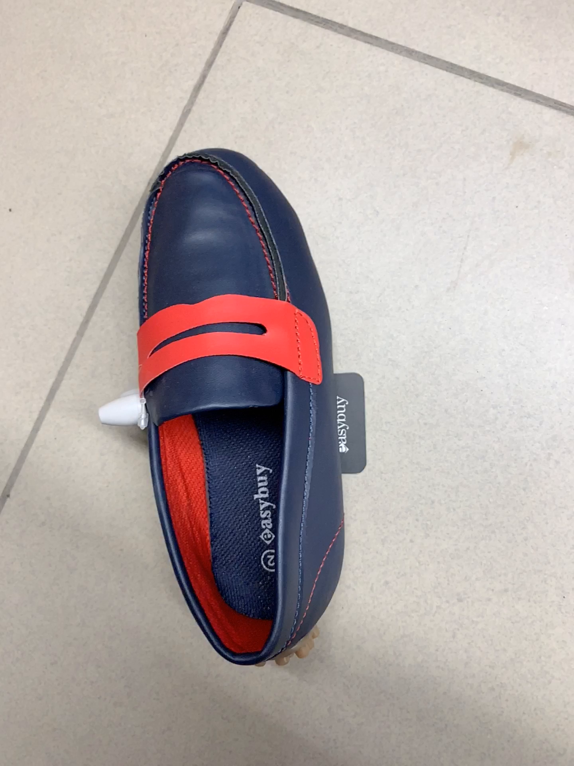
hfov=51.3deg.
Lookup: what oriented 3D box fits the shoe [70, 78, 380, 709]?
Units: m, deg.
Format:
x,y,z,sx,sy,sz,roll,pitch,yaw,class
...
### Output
x,y,z,sx,sy,sz,roll,pitch,yaw,class
-0.021,0.003,0.223,0.080,0.050,0.200,-9,84,7,shoe
